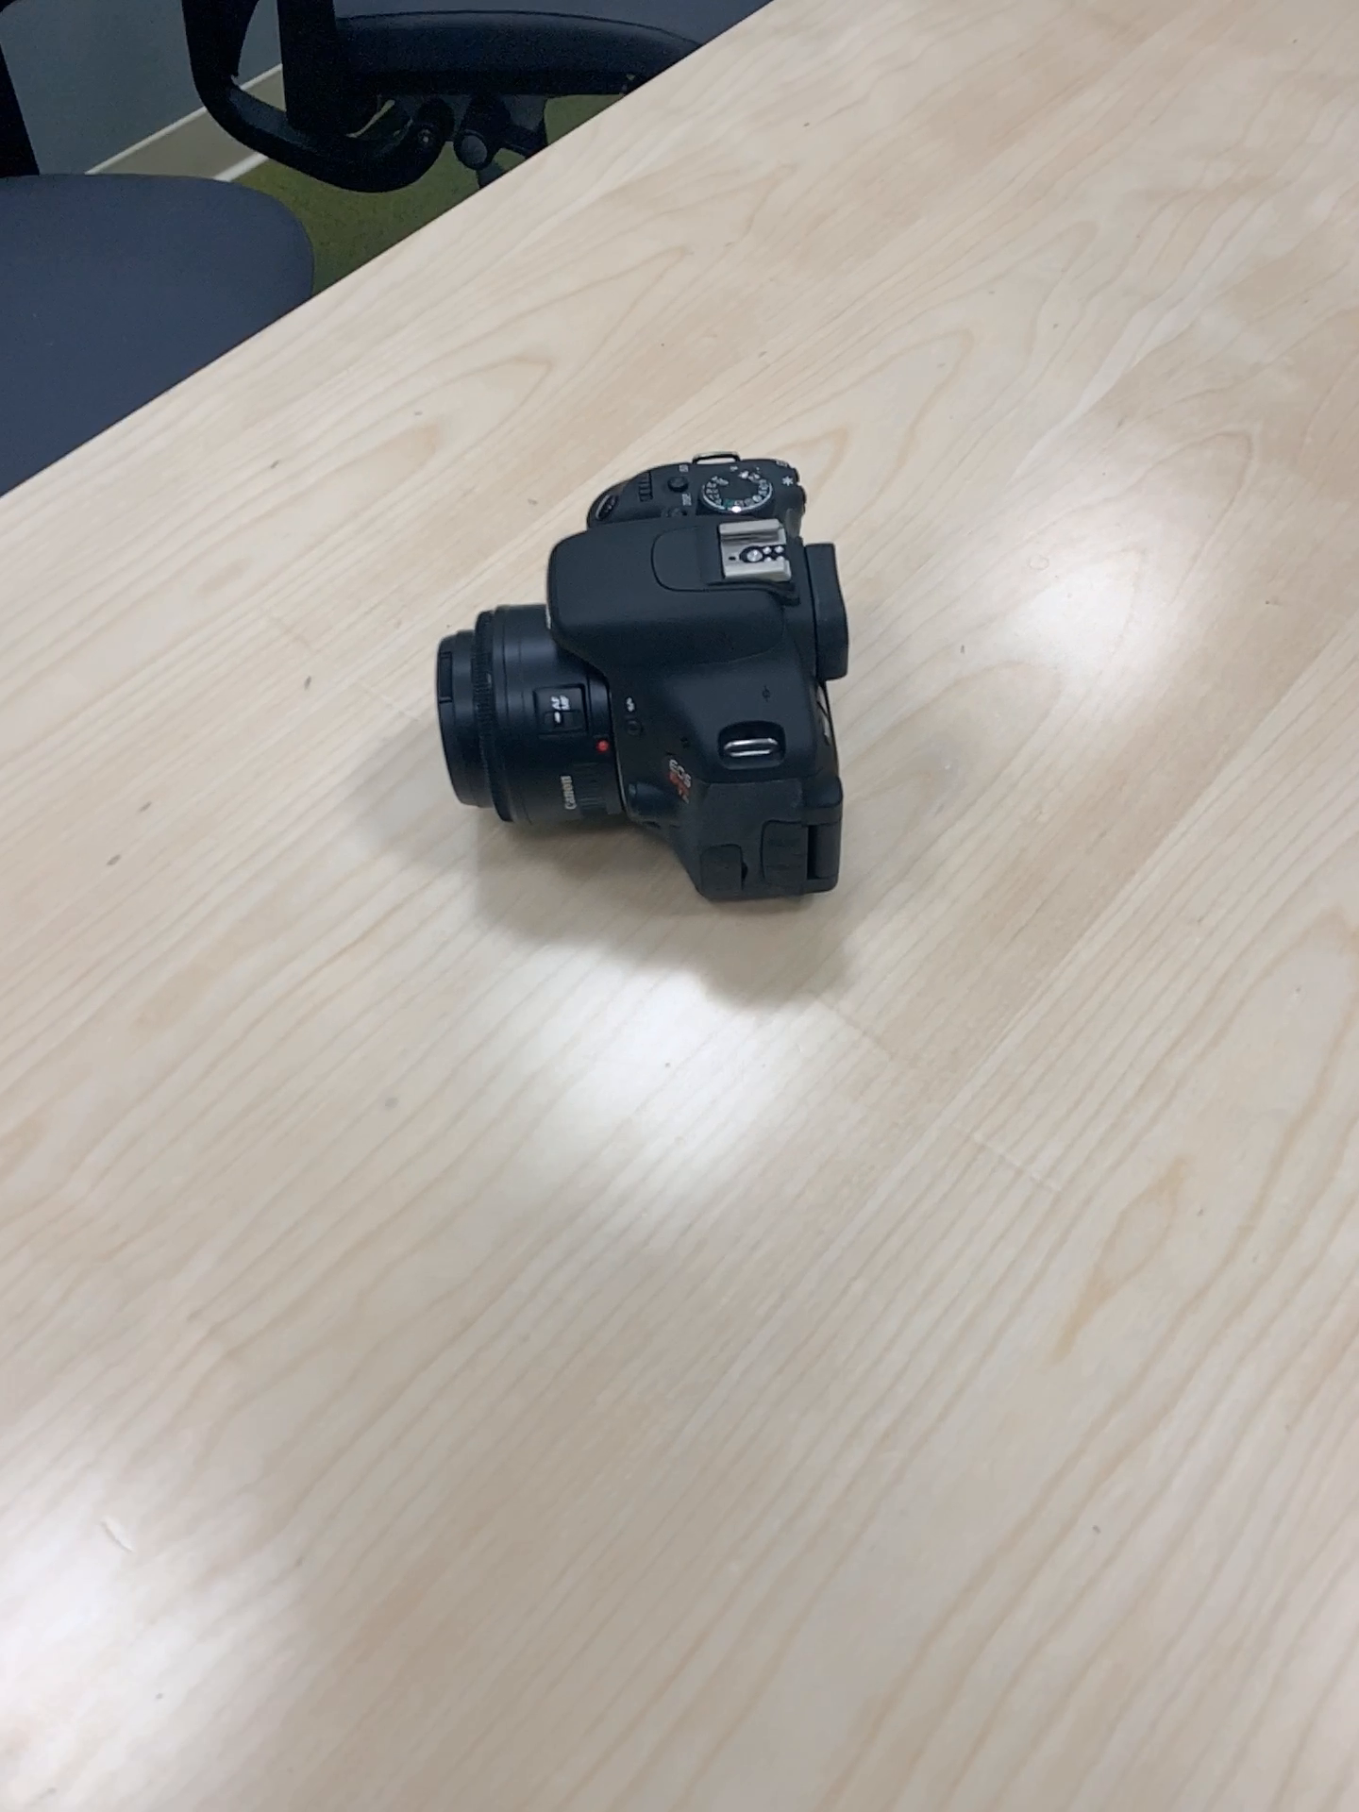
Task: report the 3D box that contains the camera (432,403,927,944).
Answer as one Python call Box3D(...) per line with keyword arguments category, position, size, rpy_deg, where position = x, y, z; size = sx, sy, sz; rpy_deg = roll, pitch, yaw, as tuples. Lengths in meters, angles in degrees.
Box3D(category="camera", position=(-0.003, -0.074, 0.438), size=(0.131, 0.080, 0.140), rpy_deg=(-5, 57, 0))
